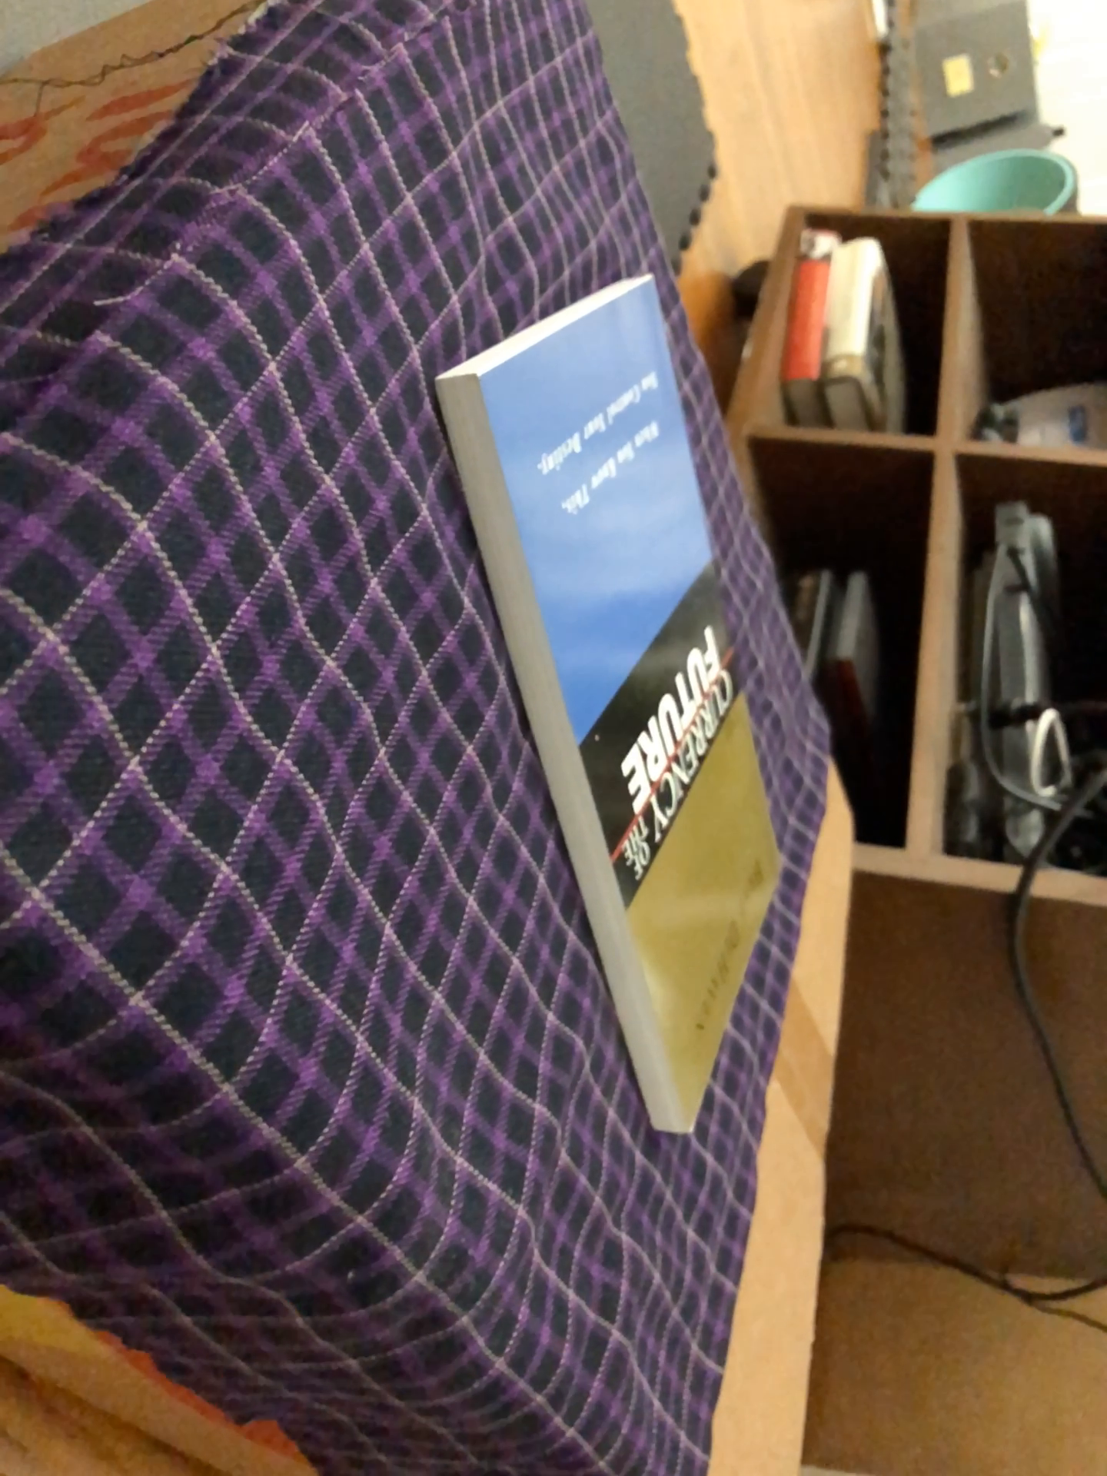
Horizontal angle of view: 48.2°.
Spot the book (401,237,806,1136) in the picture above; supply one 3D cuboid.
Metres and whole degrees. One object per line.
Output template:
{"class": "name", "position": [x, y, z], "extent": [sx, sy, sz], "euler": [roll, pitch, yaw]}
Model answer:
{"class": "book", "position": [0.031, -0.021, 0.364], "extent": [0.151, 0.020, 0.220], "euler": [-54, 133, -55]}
